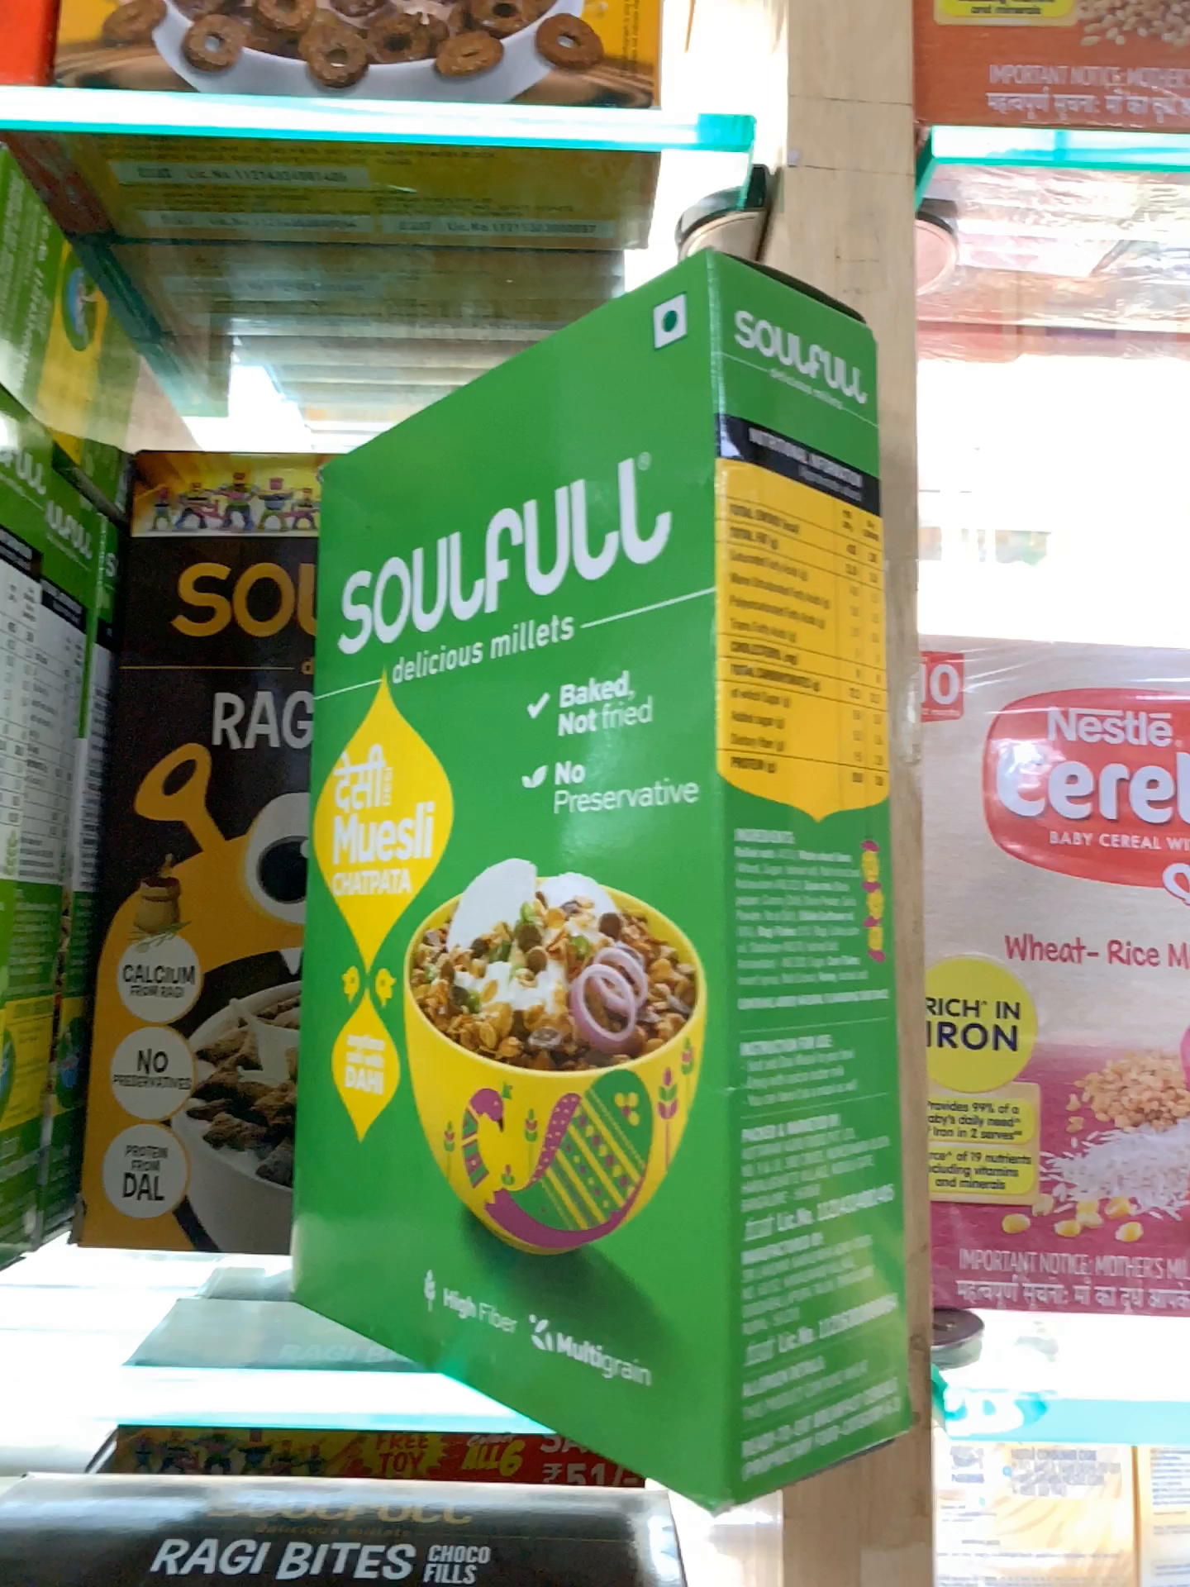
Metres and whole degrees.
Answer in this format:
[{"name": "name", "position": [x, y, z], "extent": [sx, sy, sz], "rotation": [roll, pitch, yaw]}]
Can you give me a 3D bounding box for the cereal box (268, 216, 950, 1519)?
[{"name": "cereal box", "position": [-0.006, 0.013, 0.289], "extent": [0.060, 0.221, 0.160], "rotation": [8, -10, -40]}]
